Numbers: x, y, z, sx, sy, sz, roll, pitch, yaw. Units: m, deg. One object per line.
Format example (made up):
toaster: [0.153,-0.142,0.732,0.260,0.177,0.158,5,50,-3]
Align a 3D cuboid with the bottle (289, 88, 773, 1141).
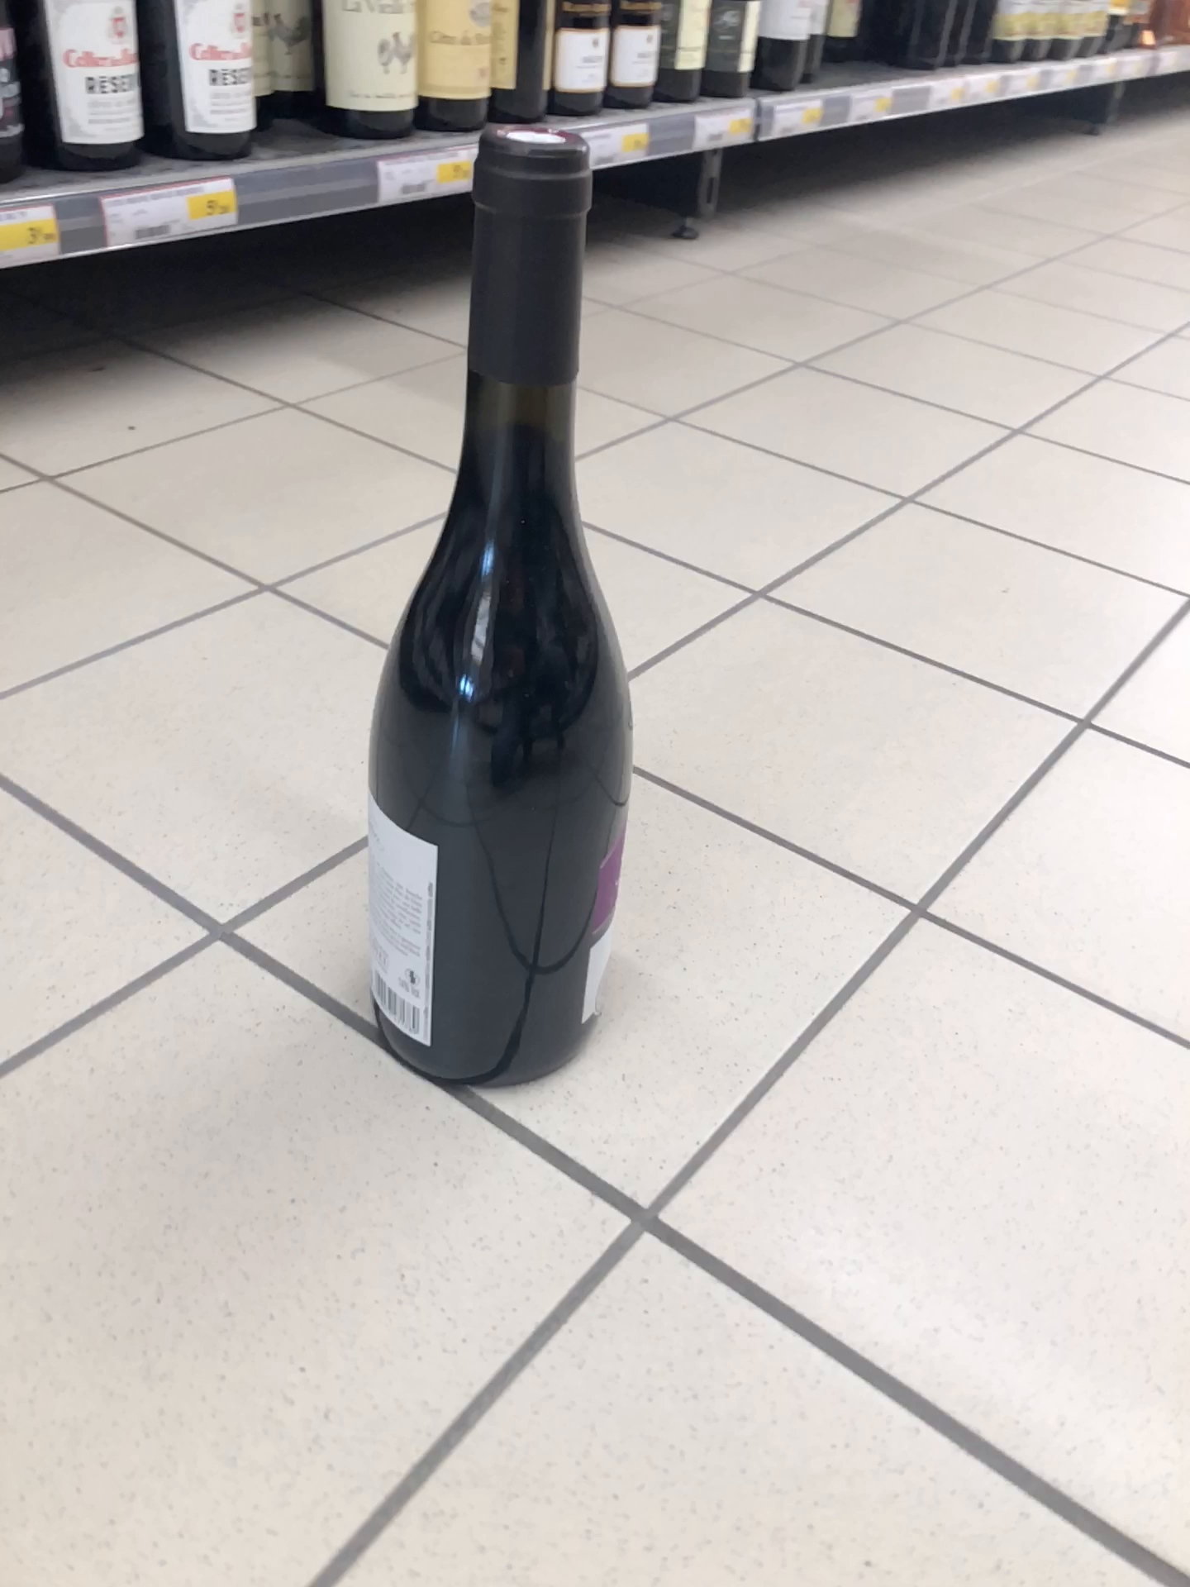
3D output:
bottle: [-0.031,-0.038,0.388,0.090,0.288,0.090,4,34,-3]
